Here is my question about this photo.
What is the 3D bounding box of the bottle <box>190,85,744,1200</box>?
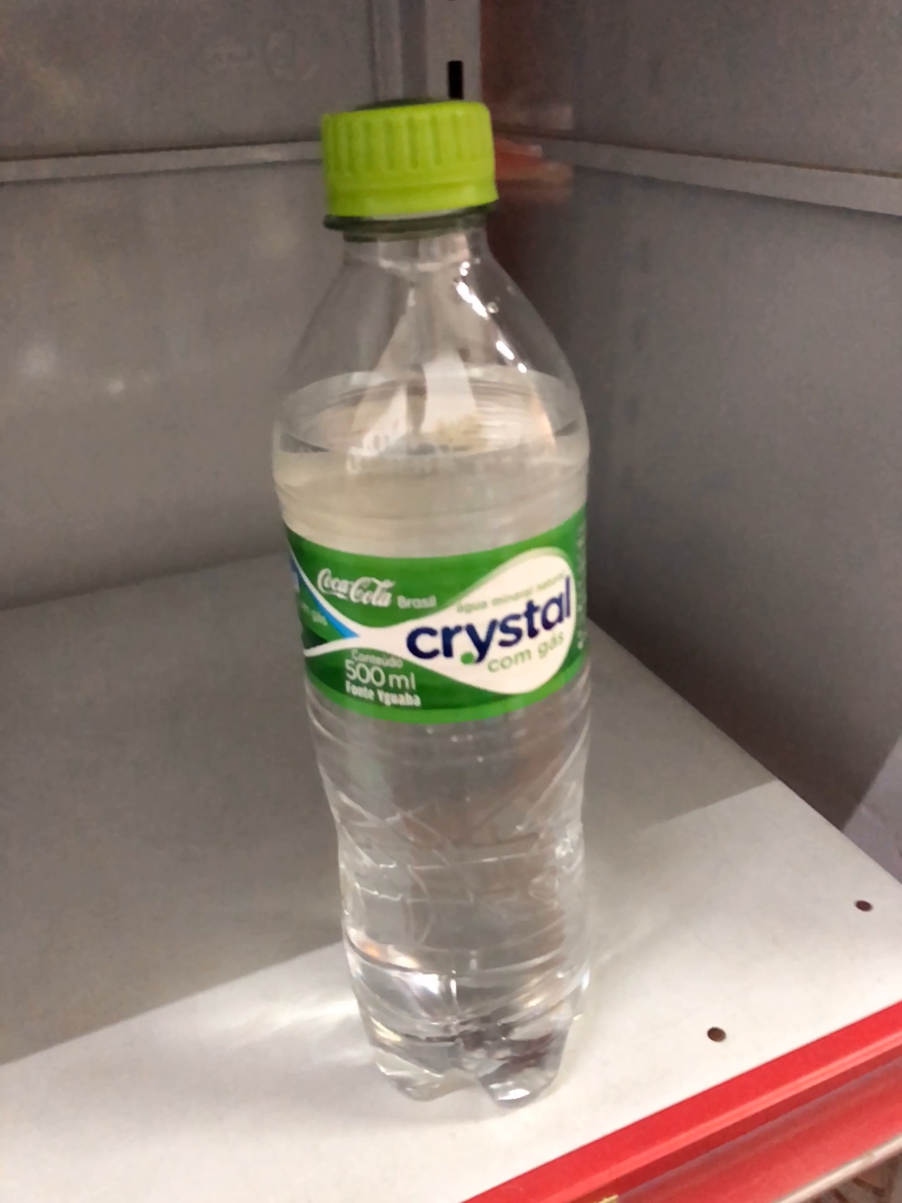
[{"bbox_3d":[0.002,0.018,0.208,0.070,0.219,0.060,-11,29,-16],"label":"bottle"}]
